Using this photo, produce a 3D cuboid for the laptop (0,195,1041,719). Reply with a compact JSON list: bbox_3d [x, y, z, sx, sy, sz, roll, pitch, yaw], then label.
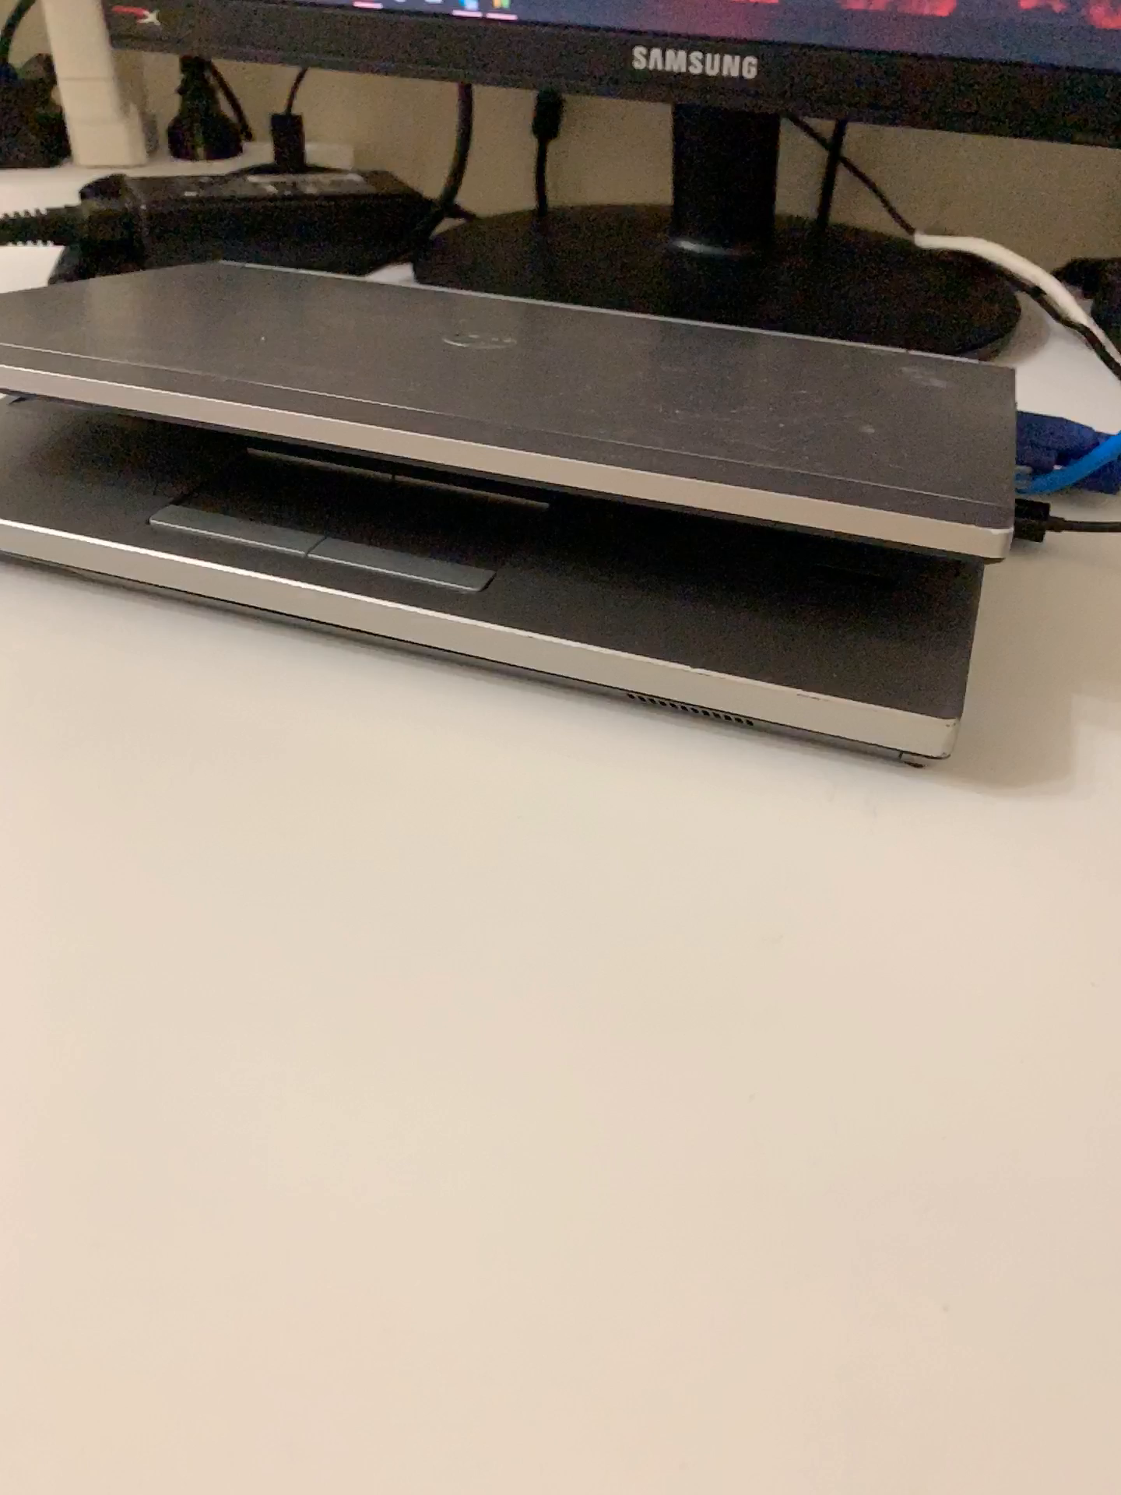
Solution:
[{"bbox_3d":[-0.023,-0.106,0.335,0.293,0.029,0.184,13,42,16],"label":"laptop"}]
